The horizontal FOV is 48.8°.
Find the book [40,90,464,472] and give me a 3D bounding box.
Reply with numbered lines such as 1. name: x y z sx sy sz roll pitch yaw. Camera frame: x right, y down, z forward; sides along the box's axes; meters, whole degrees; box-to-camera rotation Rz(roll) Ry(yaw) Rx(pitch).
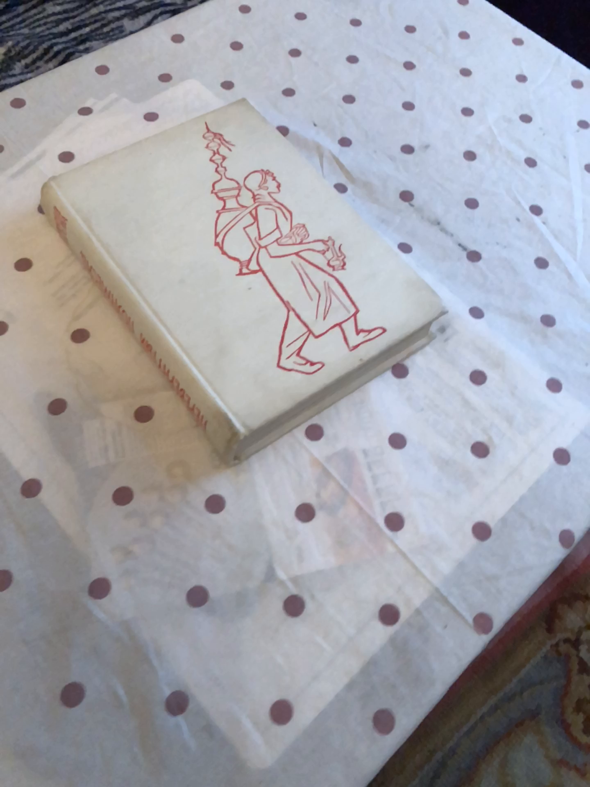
1. book: -0.034 -0.094 0.455 0.174 0.050 0.240 -33 68 -20
